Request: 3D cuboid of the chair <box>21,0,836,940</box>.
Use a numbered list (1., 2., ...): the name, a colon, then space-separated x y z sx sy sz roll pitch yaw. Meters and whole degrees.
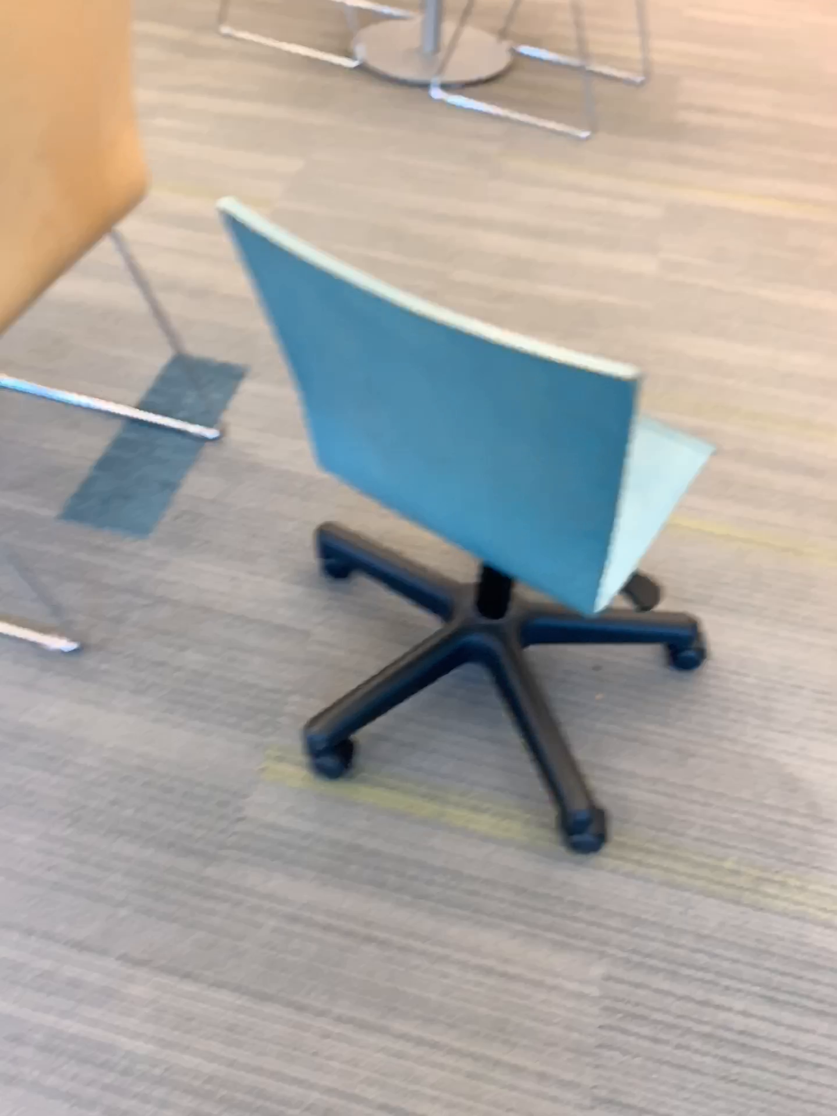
1. chair: 0.102 -0.117 0.975 0.601 0.667 0.612 28 53 19
